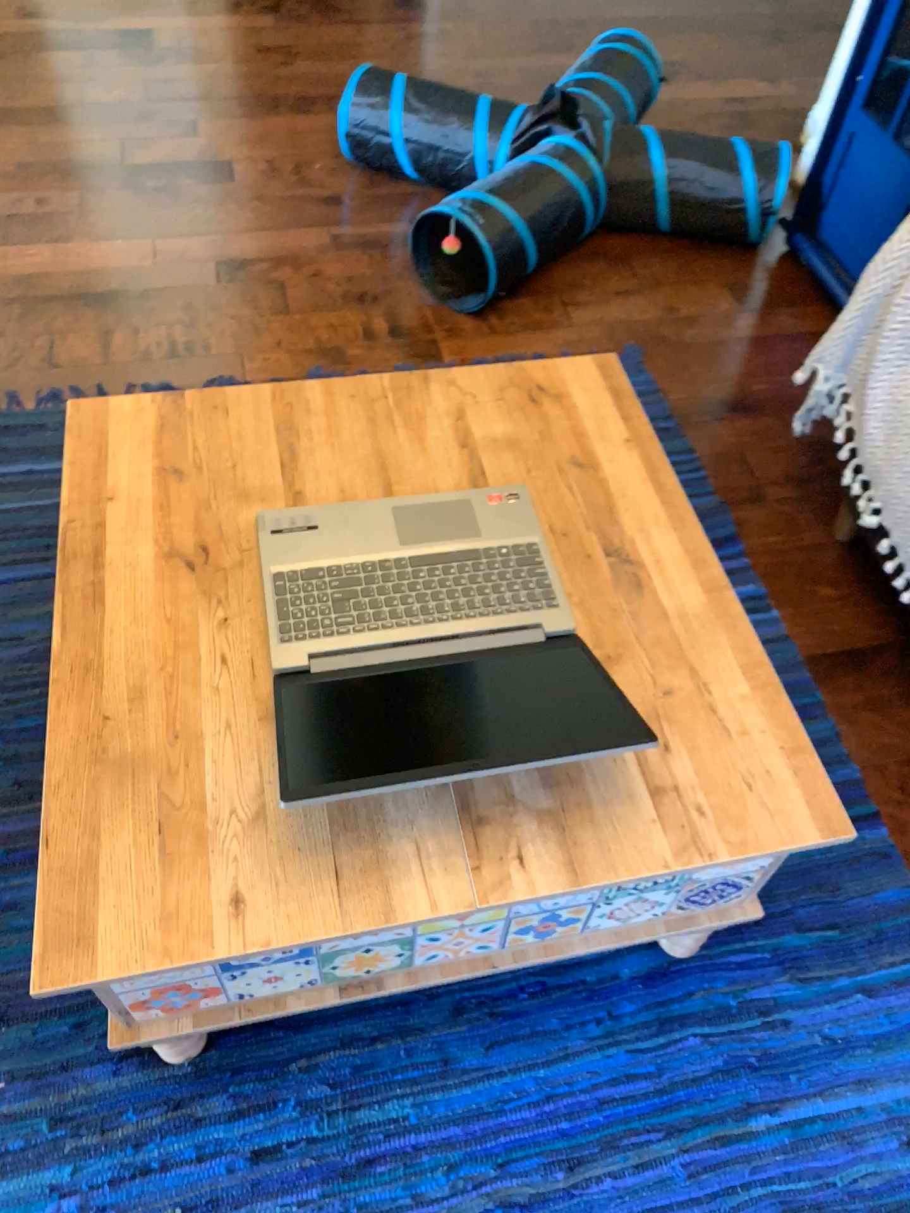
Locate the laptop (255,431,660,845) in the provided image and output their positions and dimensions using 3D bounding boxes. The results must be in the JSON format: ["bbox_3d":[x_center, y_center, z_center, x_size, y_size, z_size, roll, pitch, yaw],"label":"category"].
[{"bbox_3d":[-0.026,0.004,1.031,0.346,0.099,0.462,-7,49,-10],"label":"laptop"}]
